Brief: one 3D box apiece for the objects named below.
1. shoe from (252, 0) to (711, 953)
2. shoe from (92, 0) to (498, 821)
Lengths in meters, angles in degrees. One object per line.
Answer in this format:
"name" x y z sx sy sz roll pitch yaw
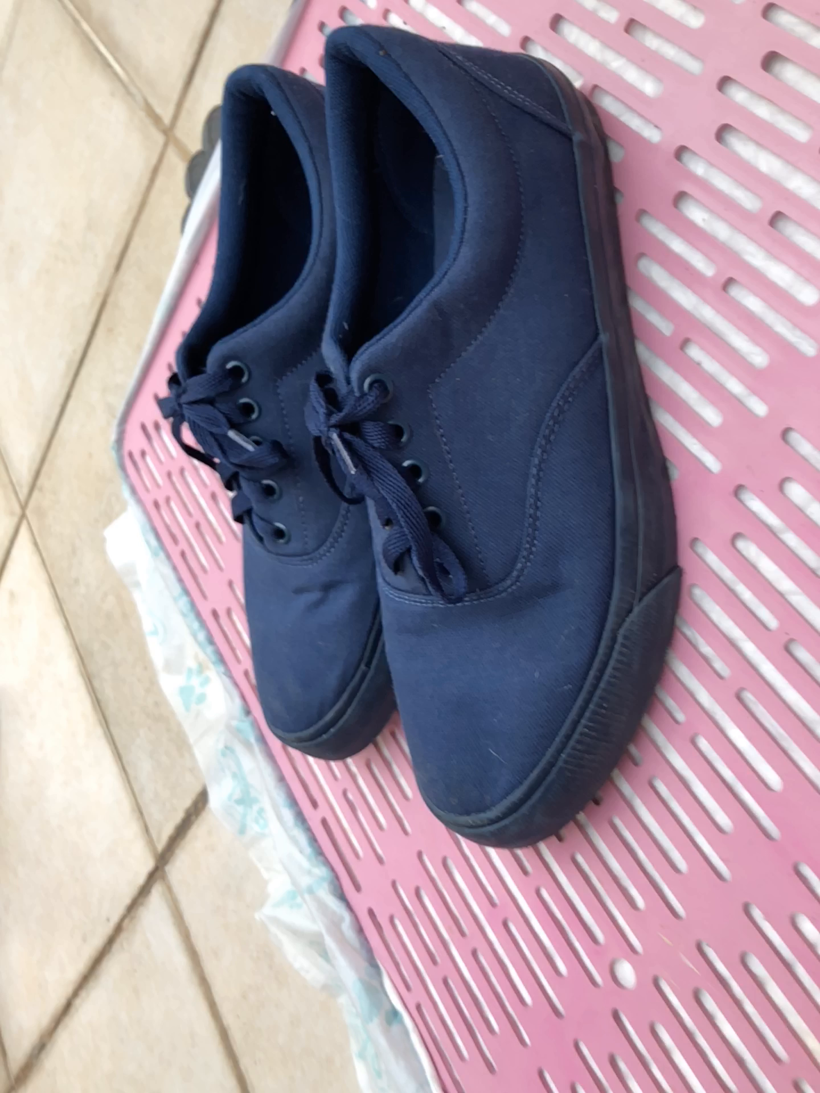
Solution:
"shoe" 0.021 -0.034 0.299 0.108 0.099 0.270 -3 86 47
"shoe" -0.048 -0.049 0.362 0.108 0.099 0.270 6 93 47
